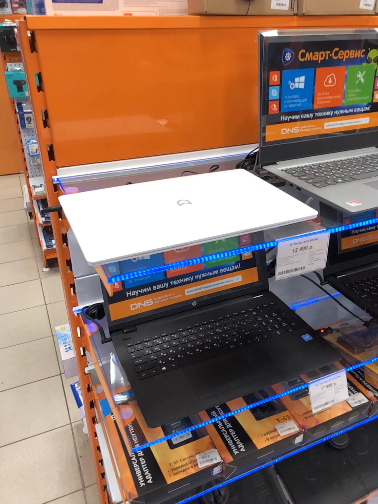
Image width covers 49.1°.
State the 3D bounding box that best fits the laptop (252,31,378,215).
[{"bbox_3d":[0.331,-0.251,0.712,0.344,0.224,0.280,-14,31,-22],"label":"laptop"}]

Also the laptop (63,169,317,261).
[{"bbox_3d":[-0.007,-0.070,0.607,0.313,0.002,0.212,-13,31,-21],"label":"laptop"}]

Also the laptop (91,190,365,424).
[{"bbox_3d":[0.045,0.067,0.767,0.364,0.228,0.307,-12,30,-19],"label":"laptop"}]
